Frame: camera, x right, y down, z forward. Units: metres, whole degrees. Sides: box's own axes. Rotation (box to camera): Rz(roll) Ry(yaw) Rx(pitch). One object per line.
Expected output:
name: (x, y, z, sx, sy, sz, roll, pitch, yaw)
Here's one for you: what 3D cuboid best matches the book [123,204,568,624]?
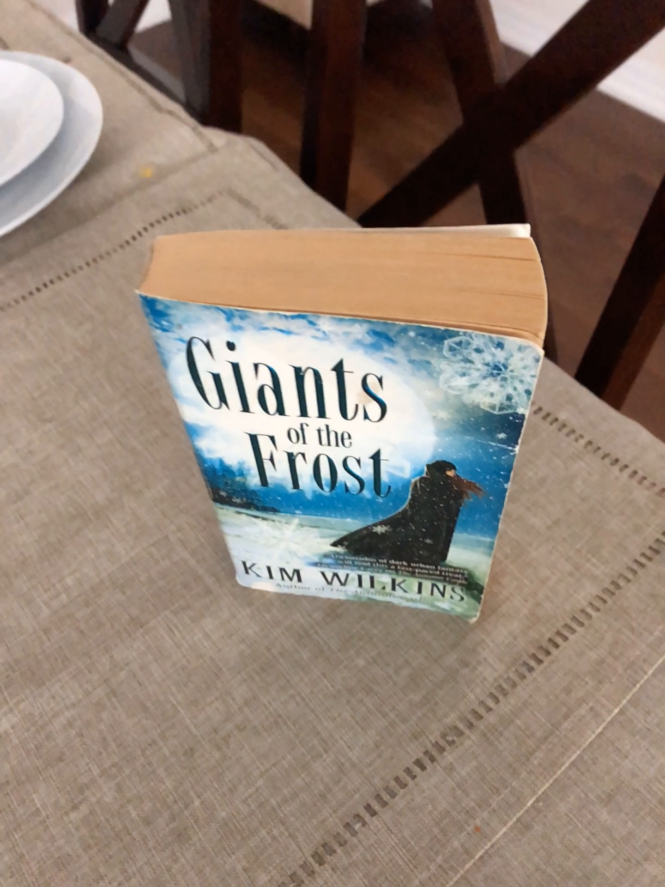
book: (0.009, 0.003, 0.264, 0.111, 0.168, 0.043, 5, 53, 8)
